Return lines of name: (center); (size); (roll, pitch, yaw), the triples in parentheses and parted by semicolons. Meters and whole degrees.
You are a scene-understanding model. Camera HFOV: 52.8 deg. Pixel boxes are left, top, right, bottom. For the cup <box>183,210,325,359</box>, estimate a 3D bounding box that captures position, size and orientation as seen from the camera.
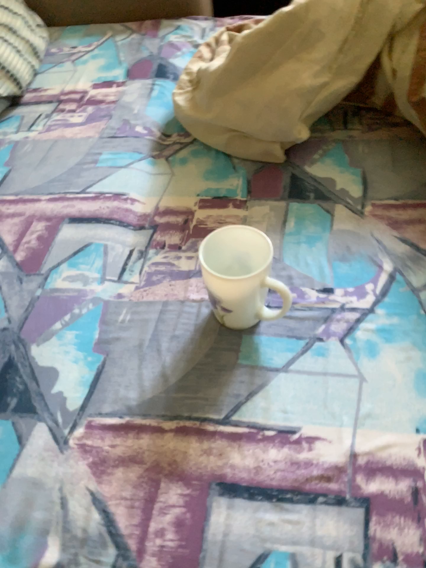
cup: (0.045, -0.001, 0.476); (0.120, 0.099, 0.080); (28, 59, 26)
